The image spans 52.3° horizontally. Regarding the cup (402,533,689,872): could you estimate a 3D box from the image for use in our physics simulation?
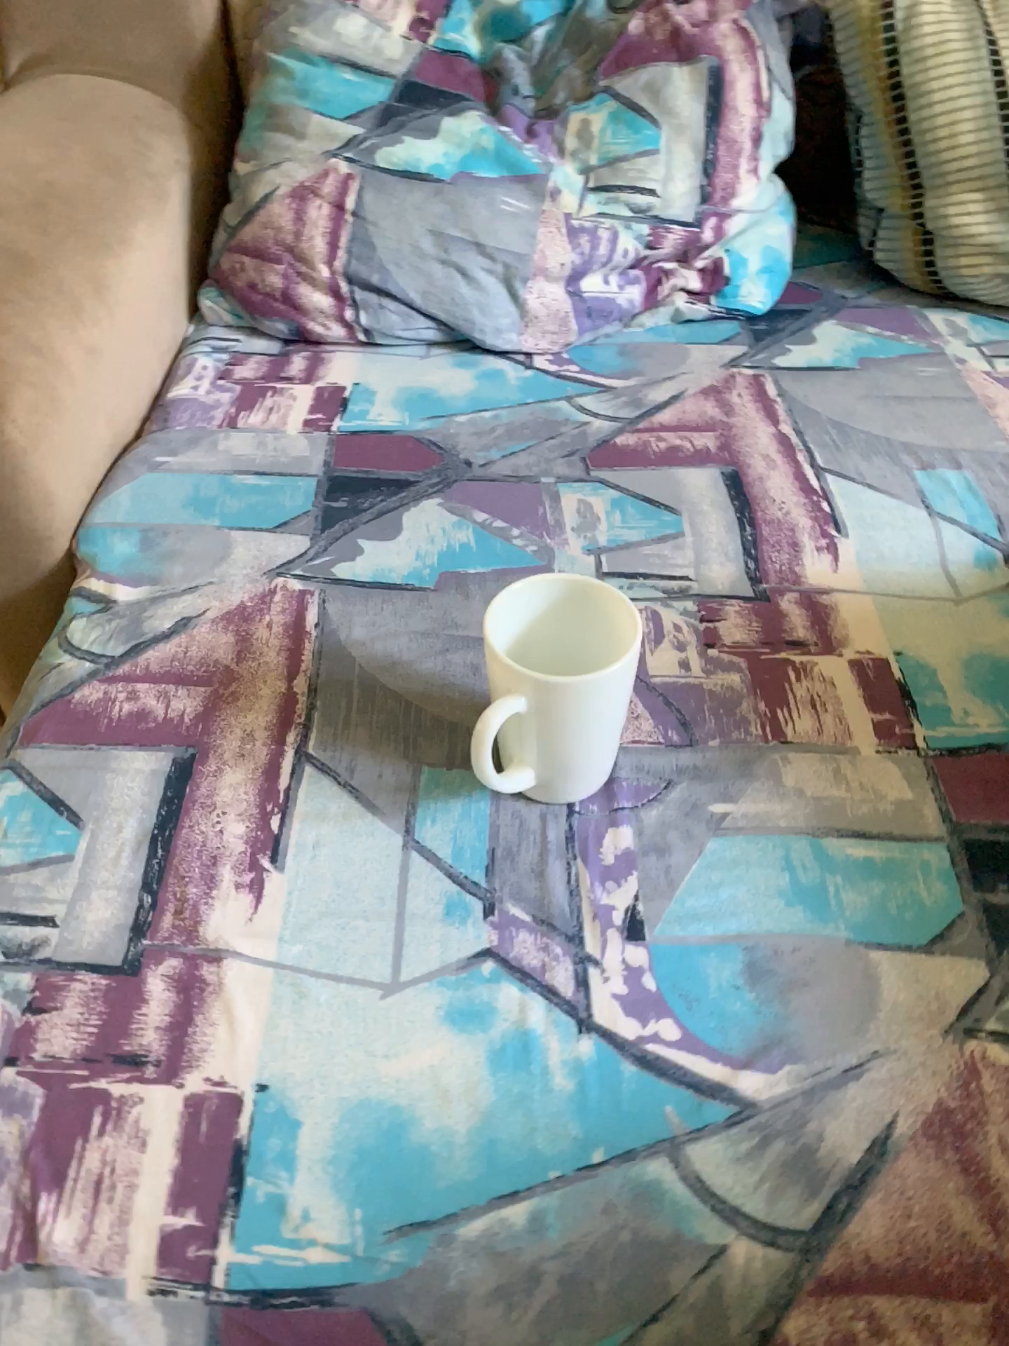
[{"bbox_3d":[0.024,0.012,0.522,0.080,0.099,0.121,27,51,29],"label":"cup"}]
